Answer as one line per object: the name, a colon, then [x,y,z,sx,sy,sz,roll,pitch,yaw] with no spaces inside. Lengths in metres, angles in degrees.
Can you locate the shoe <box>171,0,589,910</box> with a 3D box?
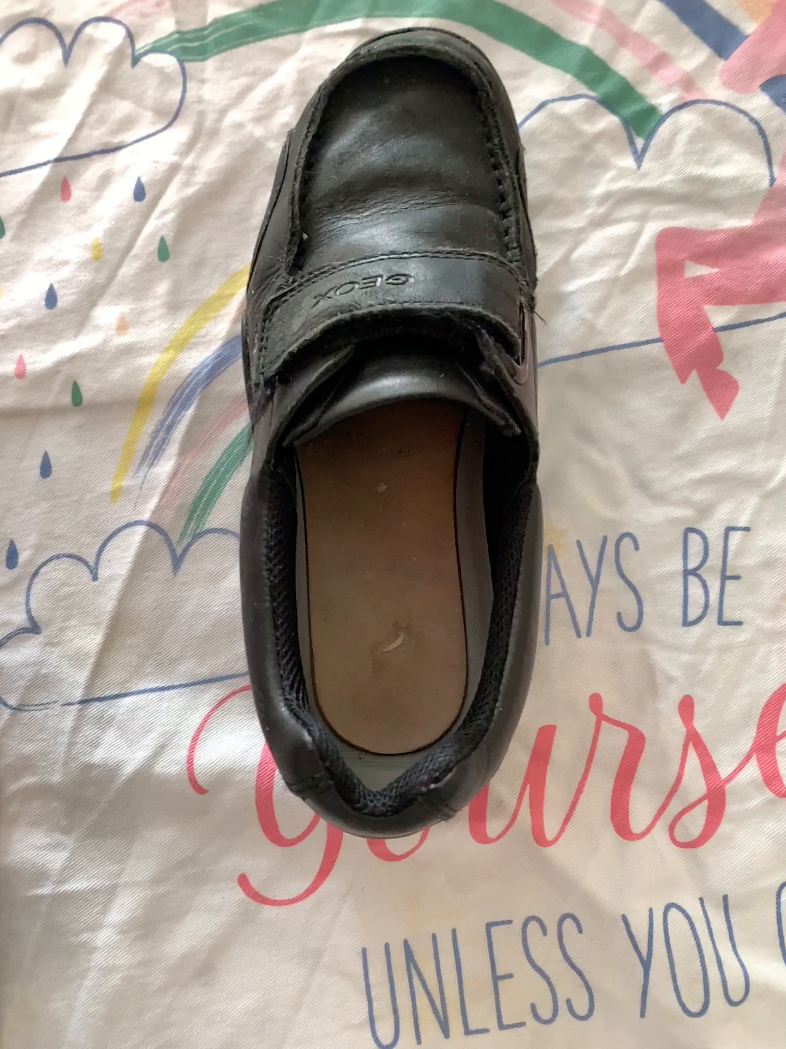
shoe: [0.003,-0.029,0.238,0.080,0.140,0.220,-1,83,5]
